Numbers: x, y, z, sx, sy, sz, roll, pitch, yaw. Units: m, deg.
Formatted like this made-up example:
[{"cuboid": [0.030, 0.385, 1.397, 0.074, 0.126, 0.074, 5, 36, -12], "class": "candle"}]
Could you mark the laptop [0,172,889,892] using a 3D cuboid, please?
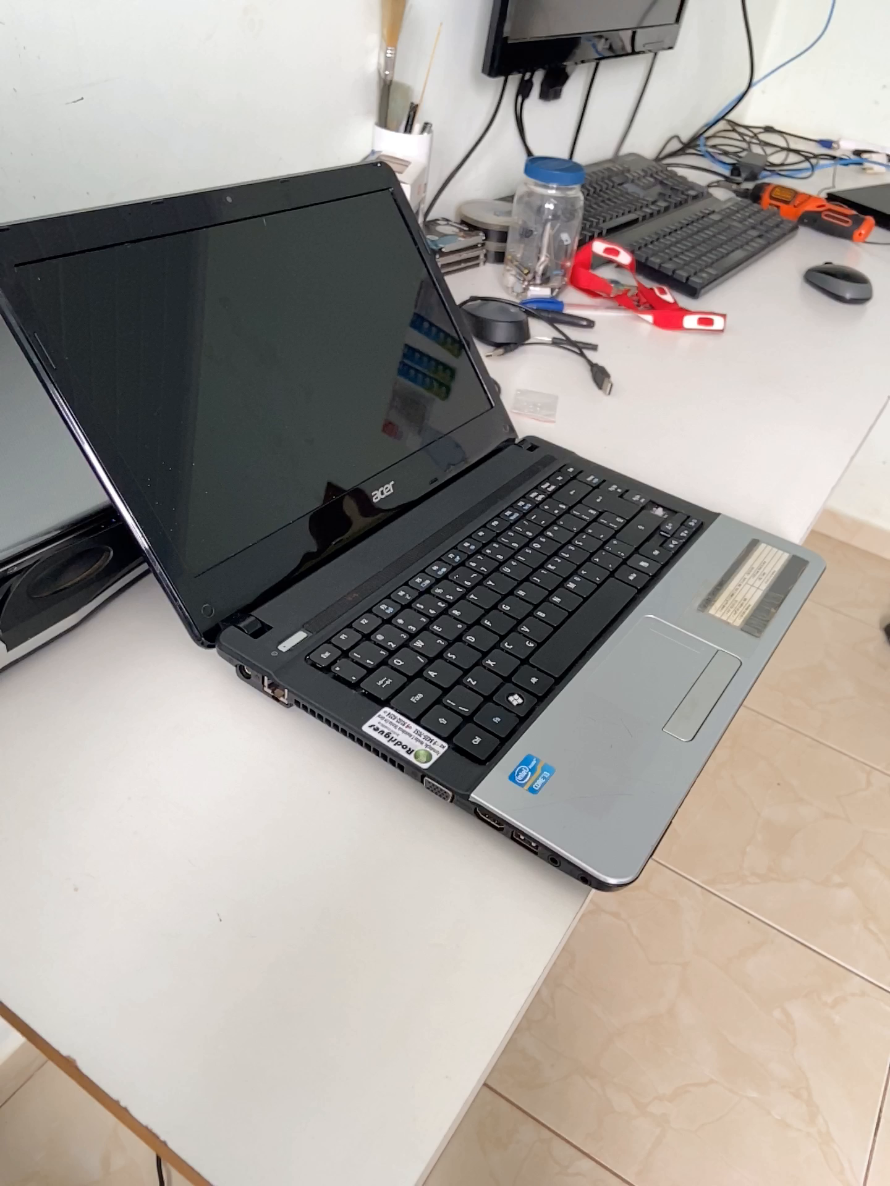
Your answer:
[{"cuboid": [0.009, -0.094, 0.532, 0.396, 0.162, 0.334, 27, 40, 23], "class": "laptop"}]
